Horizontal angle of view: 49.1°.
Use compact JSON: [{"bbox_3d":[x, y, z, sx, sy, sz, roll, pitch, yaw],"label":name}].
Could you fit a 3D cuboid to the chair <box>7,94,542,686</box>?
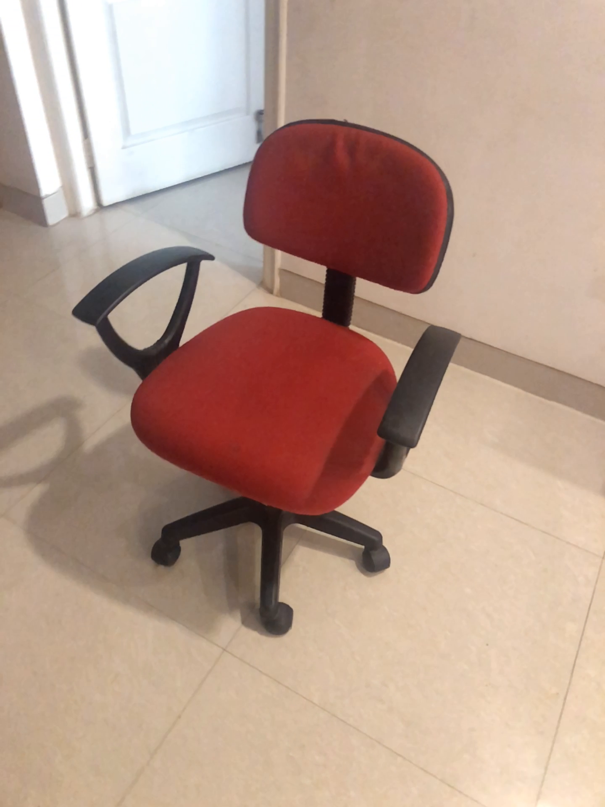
[{"bbox_3d":[-0.011,-0.036,1.202,0.541,0.725,0.603,22,47,18],"label":"chair"}]
